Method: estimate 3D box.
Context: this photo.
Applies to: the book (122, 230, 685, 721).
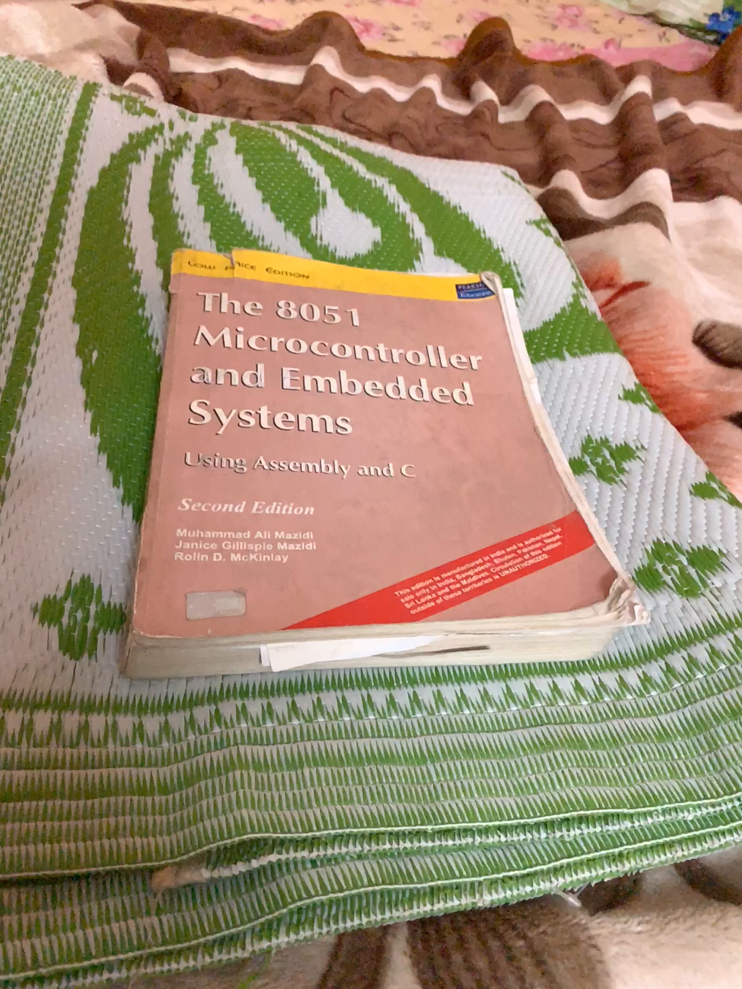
[{"bbox_3d":[0.002,-0.036,0.422,0.230,0.050,0.302,-1,50,-8],"label":"book"}]
